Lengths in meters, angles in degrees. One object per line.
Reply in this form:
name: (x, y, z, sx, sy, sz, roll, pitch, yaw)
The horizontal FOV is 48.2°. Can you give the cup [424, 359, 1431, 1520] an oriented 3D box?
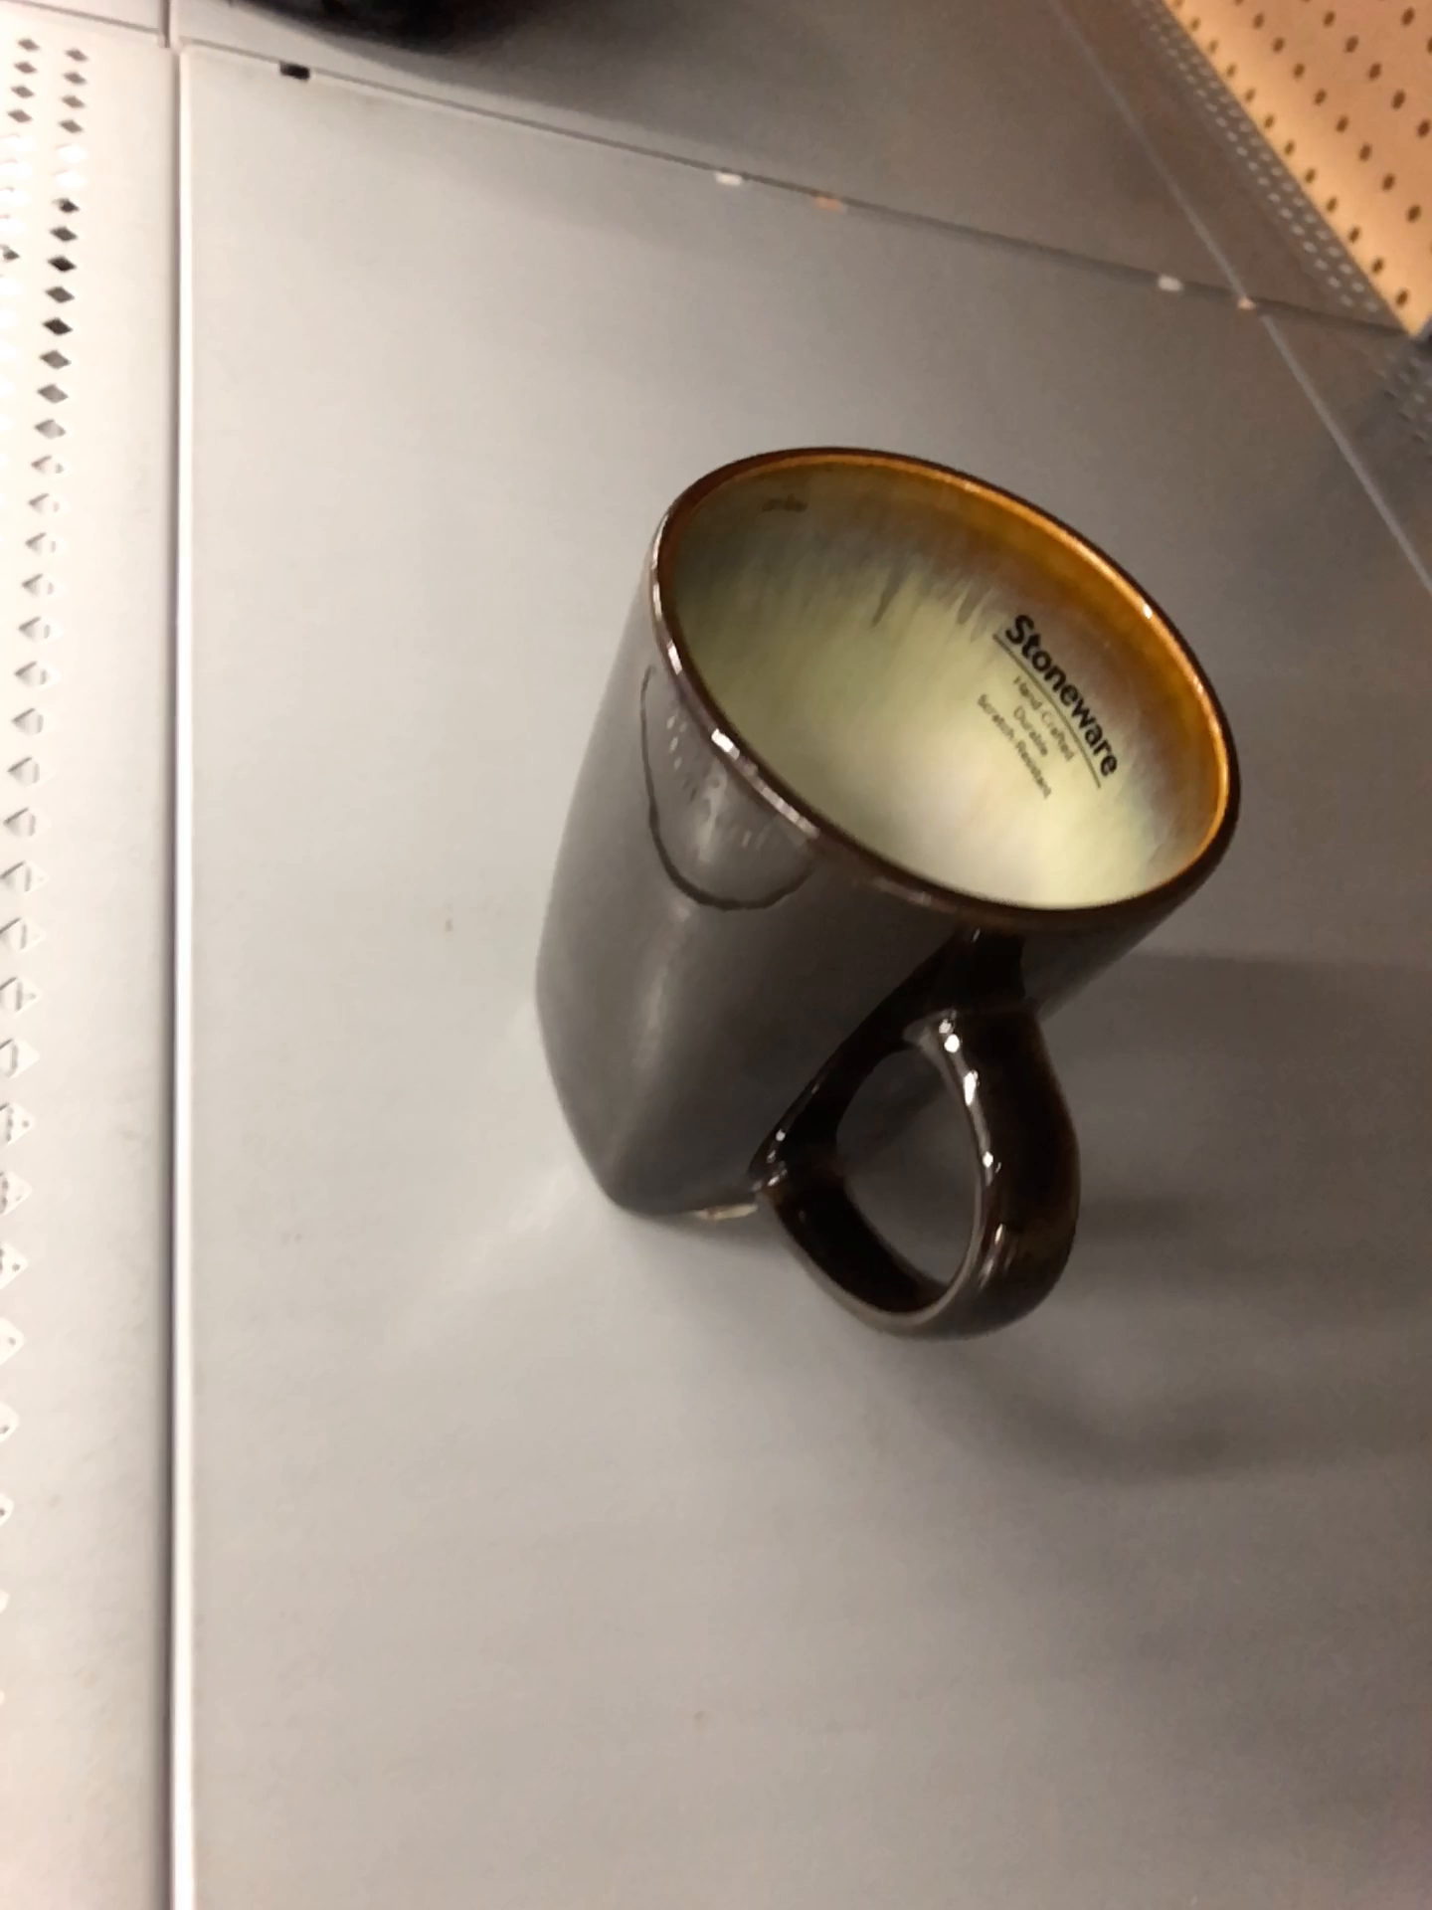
cup: (0.025, -0.004, 0.253, 0.095, 0.099, 0.136, -4, 58, -27)
